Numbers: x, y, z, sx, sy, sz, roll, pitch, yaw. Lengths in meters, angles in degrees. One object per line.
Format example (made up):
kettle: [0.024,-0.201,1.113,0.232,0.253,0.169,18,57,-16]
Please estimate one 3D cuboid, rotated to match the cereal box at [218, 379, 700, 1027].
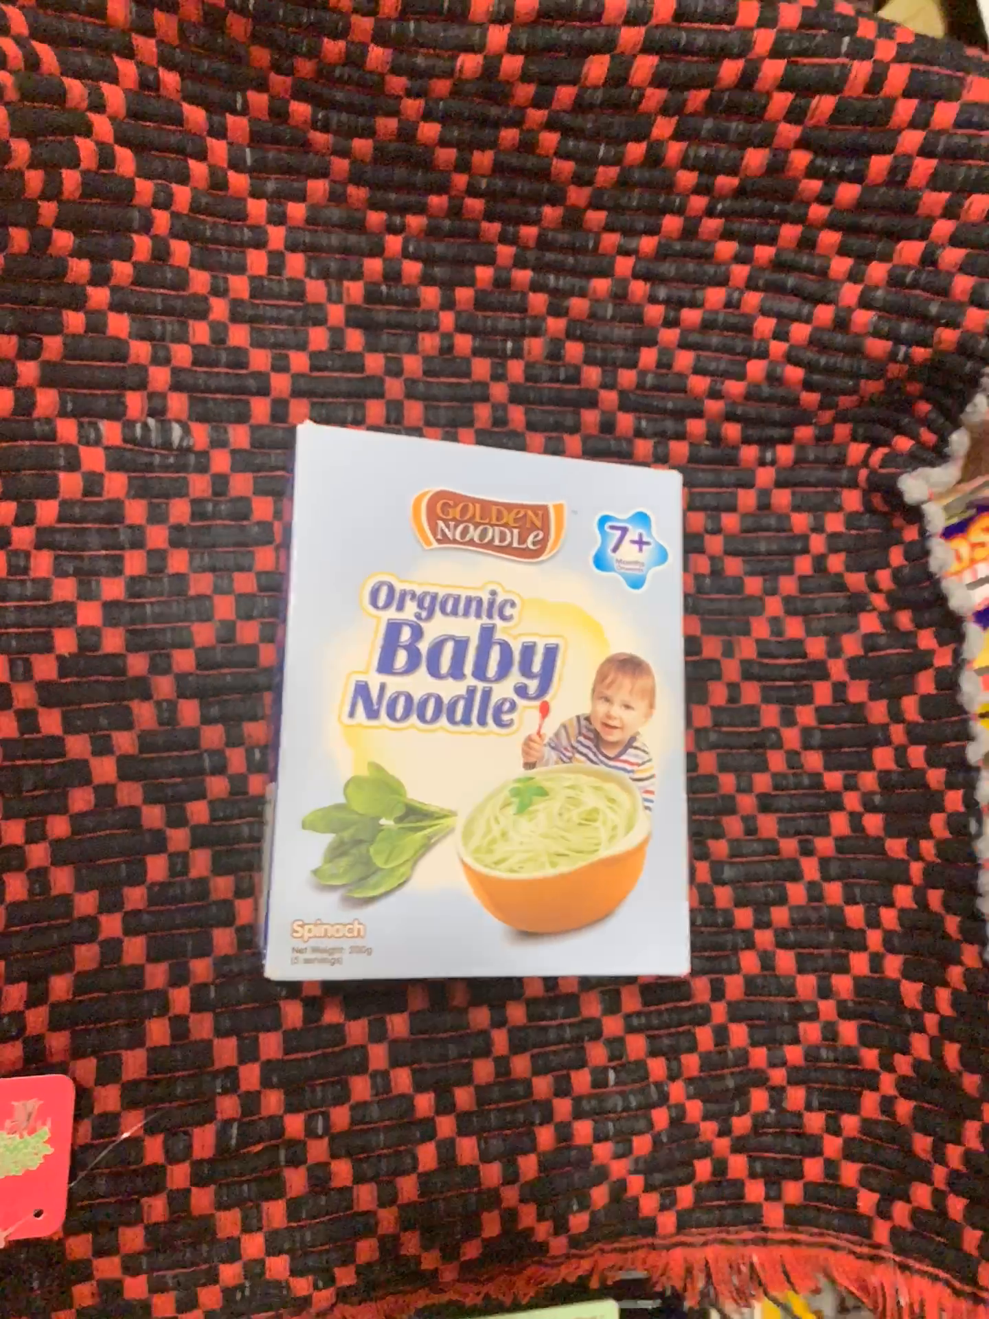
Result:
cereal box: [-0.010,0.015,0.309,0.130,0.050,0.170,4,80,-17]
